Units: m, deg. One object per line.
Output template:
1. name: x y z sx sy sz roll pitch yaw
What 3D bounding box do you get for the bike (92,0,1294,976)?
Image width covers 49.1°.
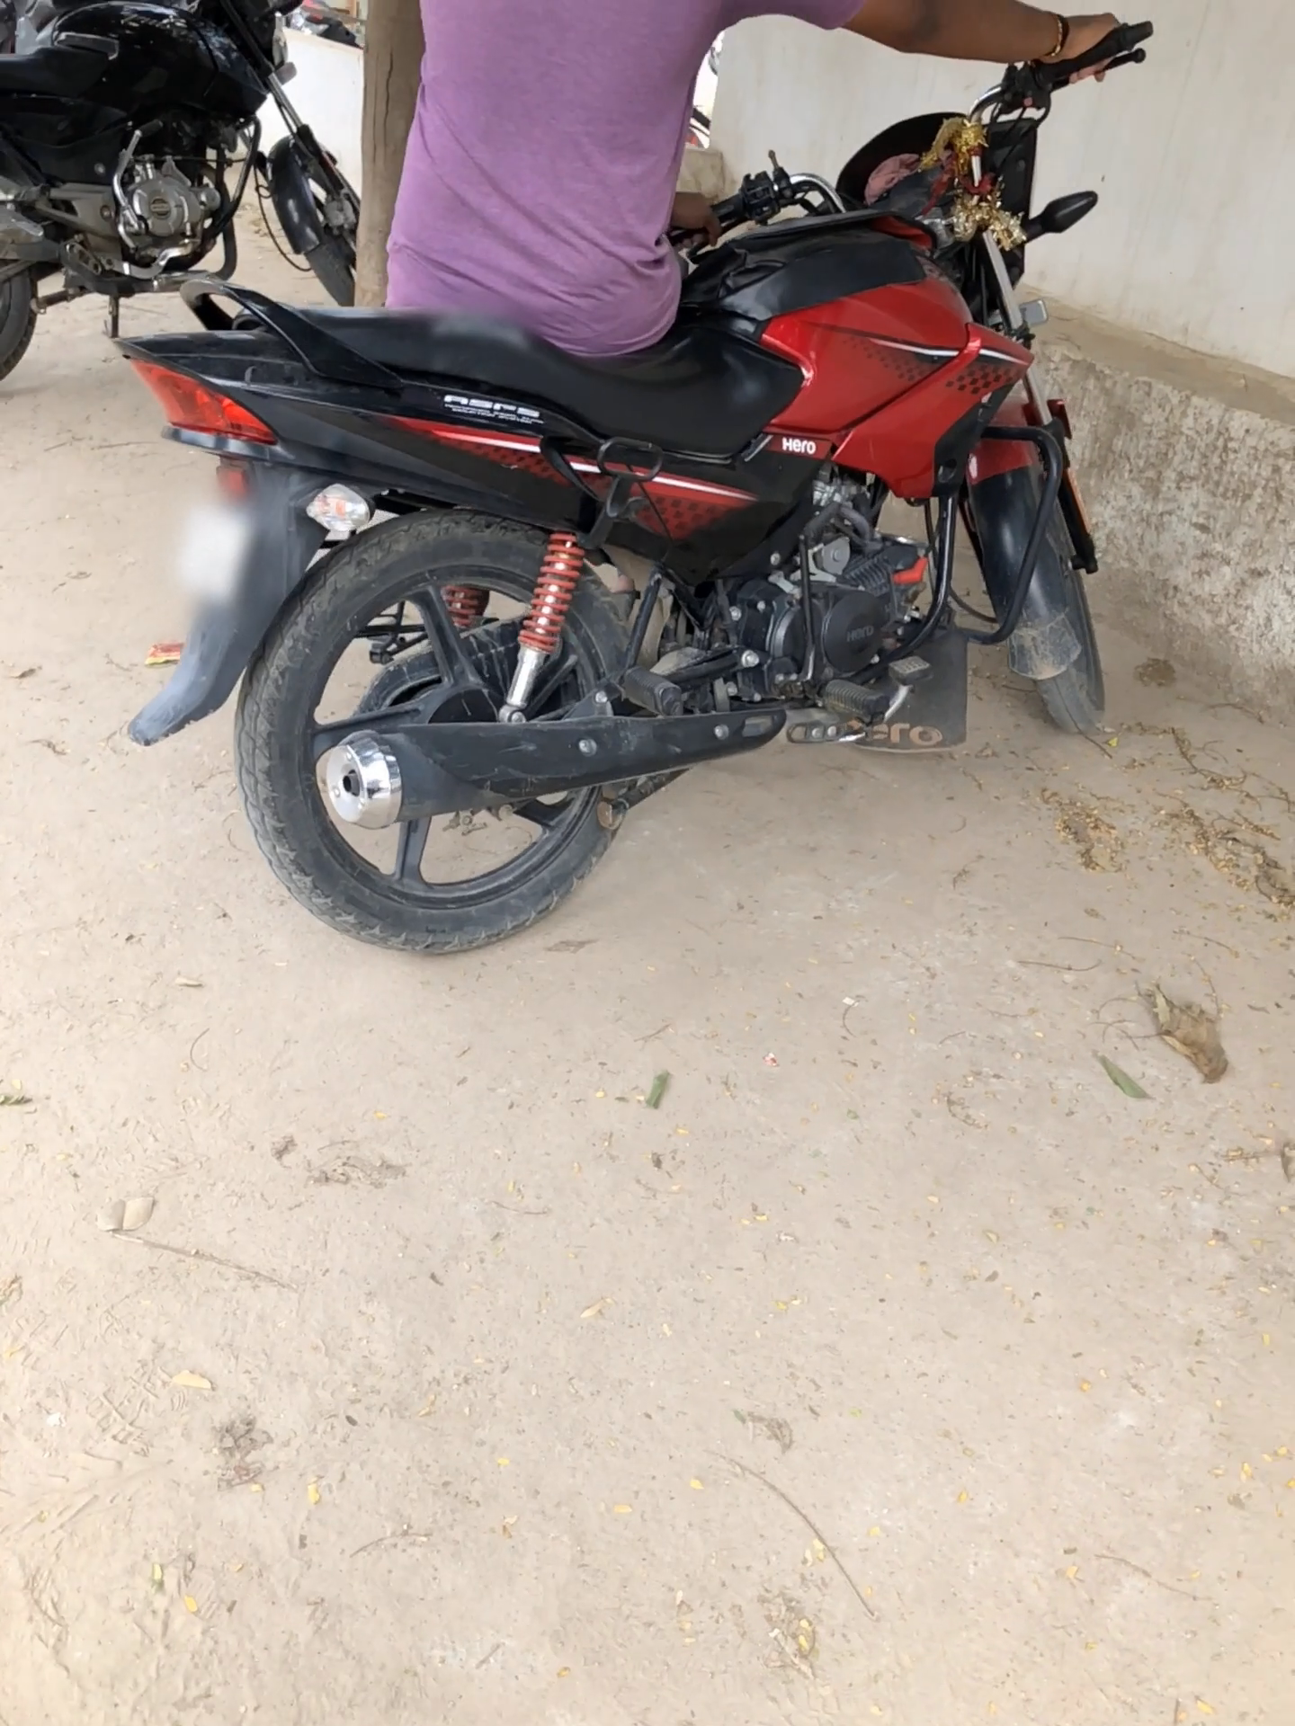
1. bike: 0.124 -0.859 2.193 1.708 1.086 0.741 -27 45 -35
